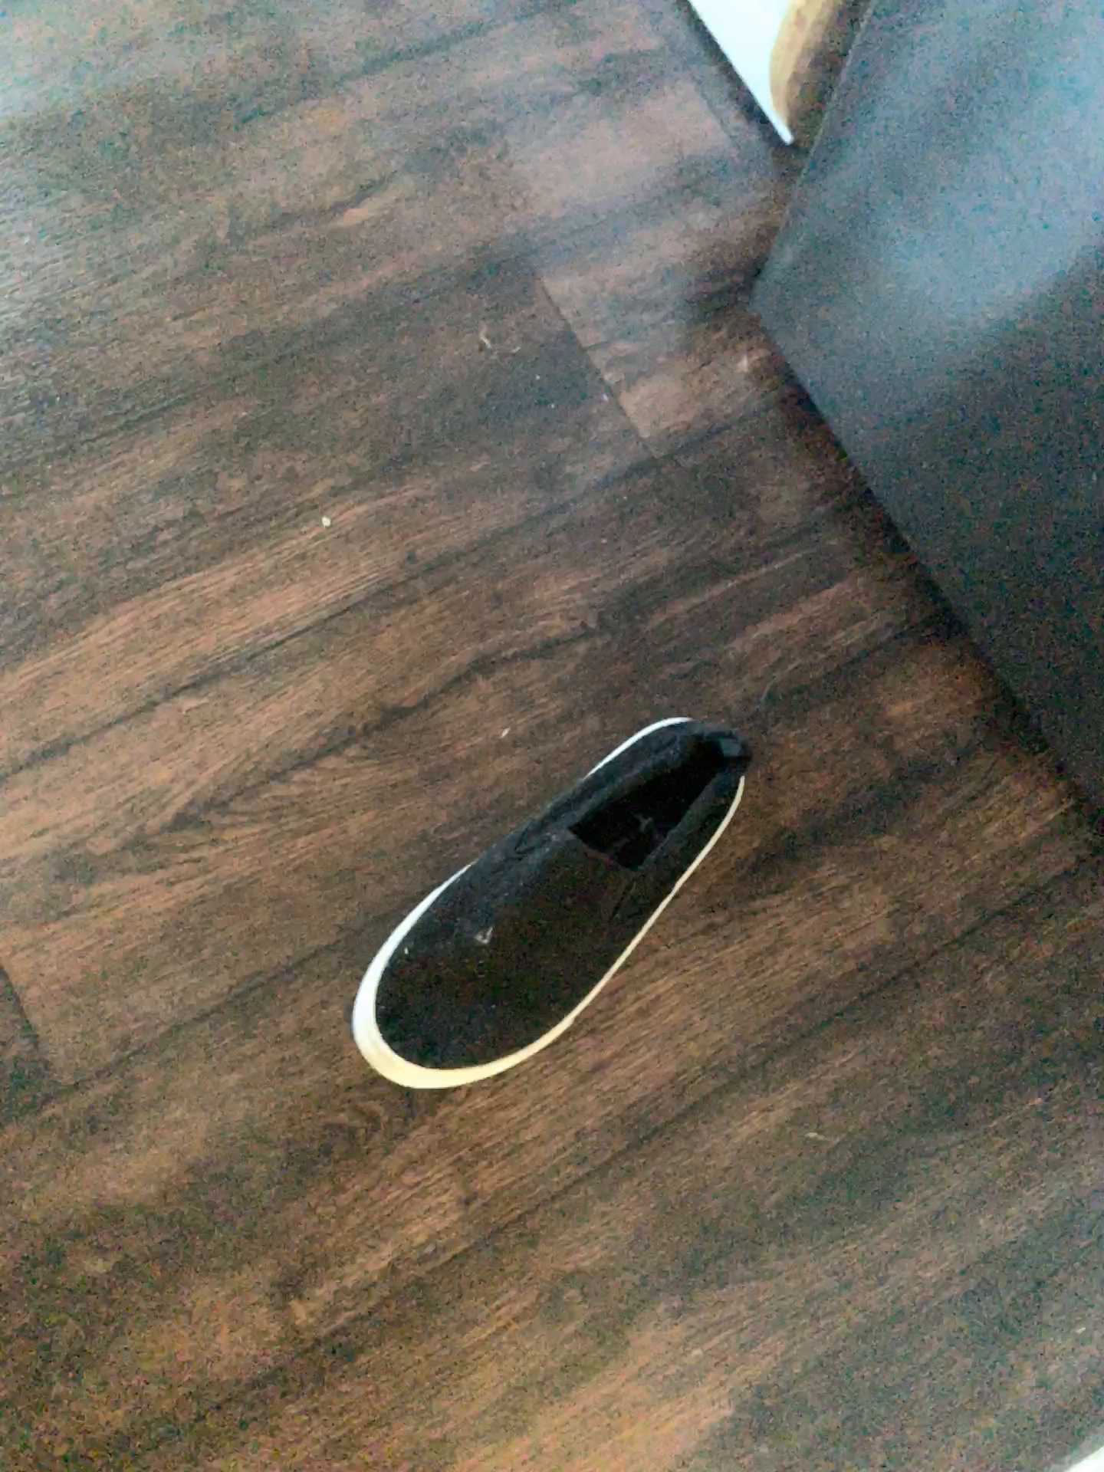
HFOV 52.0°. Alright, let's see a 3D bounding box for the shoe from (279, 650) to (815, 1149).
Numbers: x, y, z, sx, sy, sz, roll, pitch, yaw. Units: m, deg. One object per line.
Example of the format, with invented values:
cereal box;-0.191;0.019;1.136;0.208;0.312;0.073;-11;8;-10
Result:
shoe;-0.001;0.078;0.559;0.238;0.080;0.100;-38;81;-14
